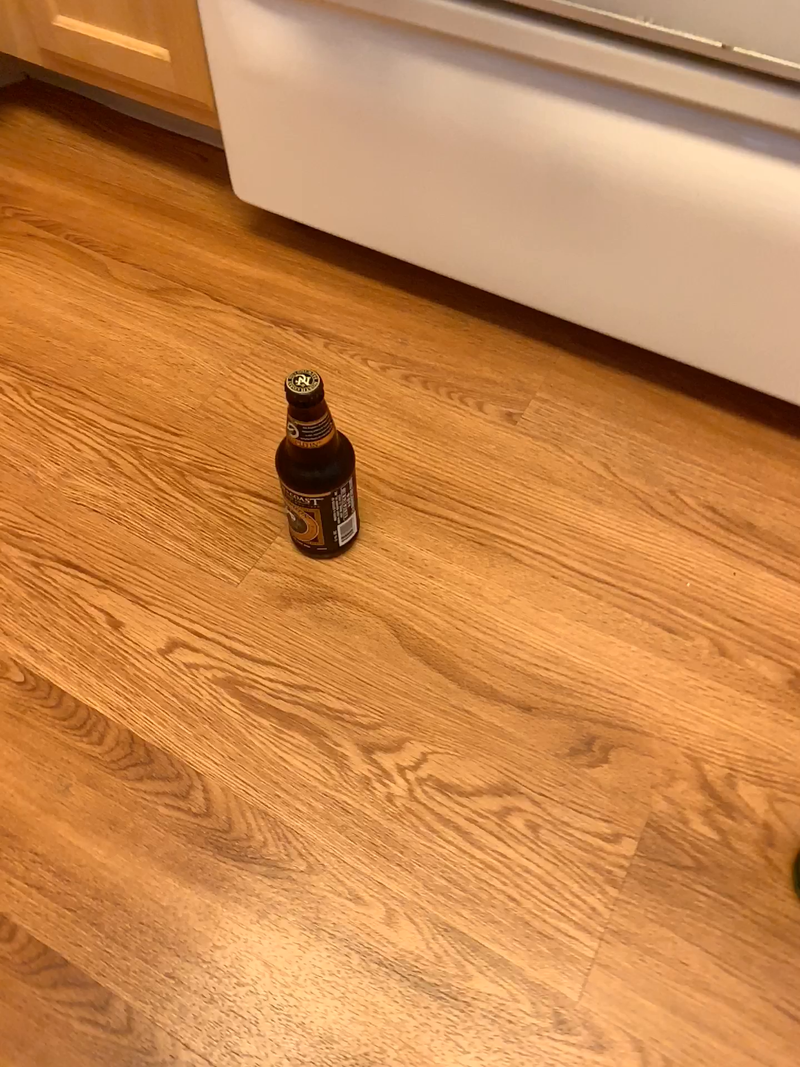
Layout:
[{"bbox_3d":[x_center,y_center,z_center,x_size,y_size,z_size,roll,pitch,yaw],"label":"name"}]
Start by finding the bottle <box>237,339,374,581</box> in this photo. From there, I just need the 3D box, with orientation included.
[{"bbox_3d":[-0.068,-0.050,0.647,0.070,0.189,0.060,37,63,21],"label":"bottle"}]

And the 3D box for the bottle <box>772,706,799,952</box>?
[{"bbox_3d":[0.300,0.181,0.475,0.060,0.219,0.060,0,57,0],"label":"bottle"}]
